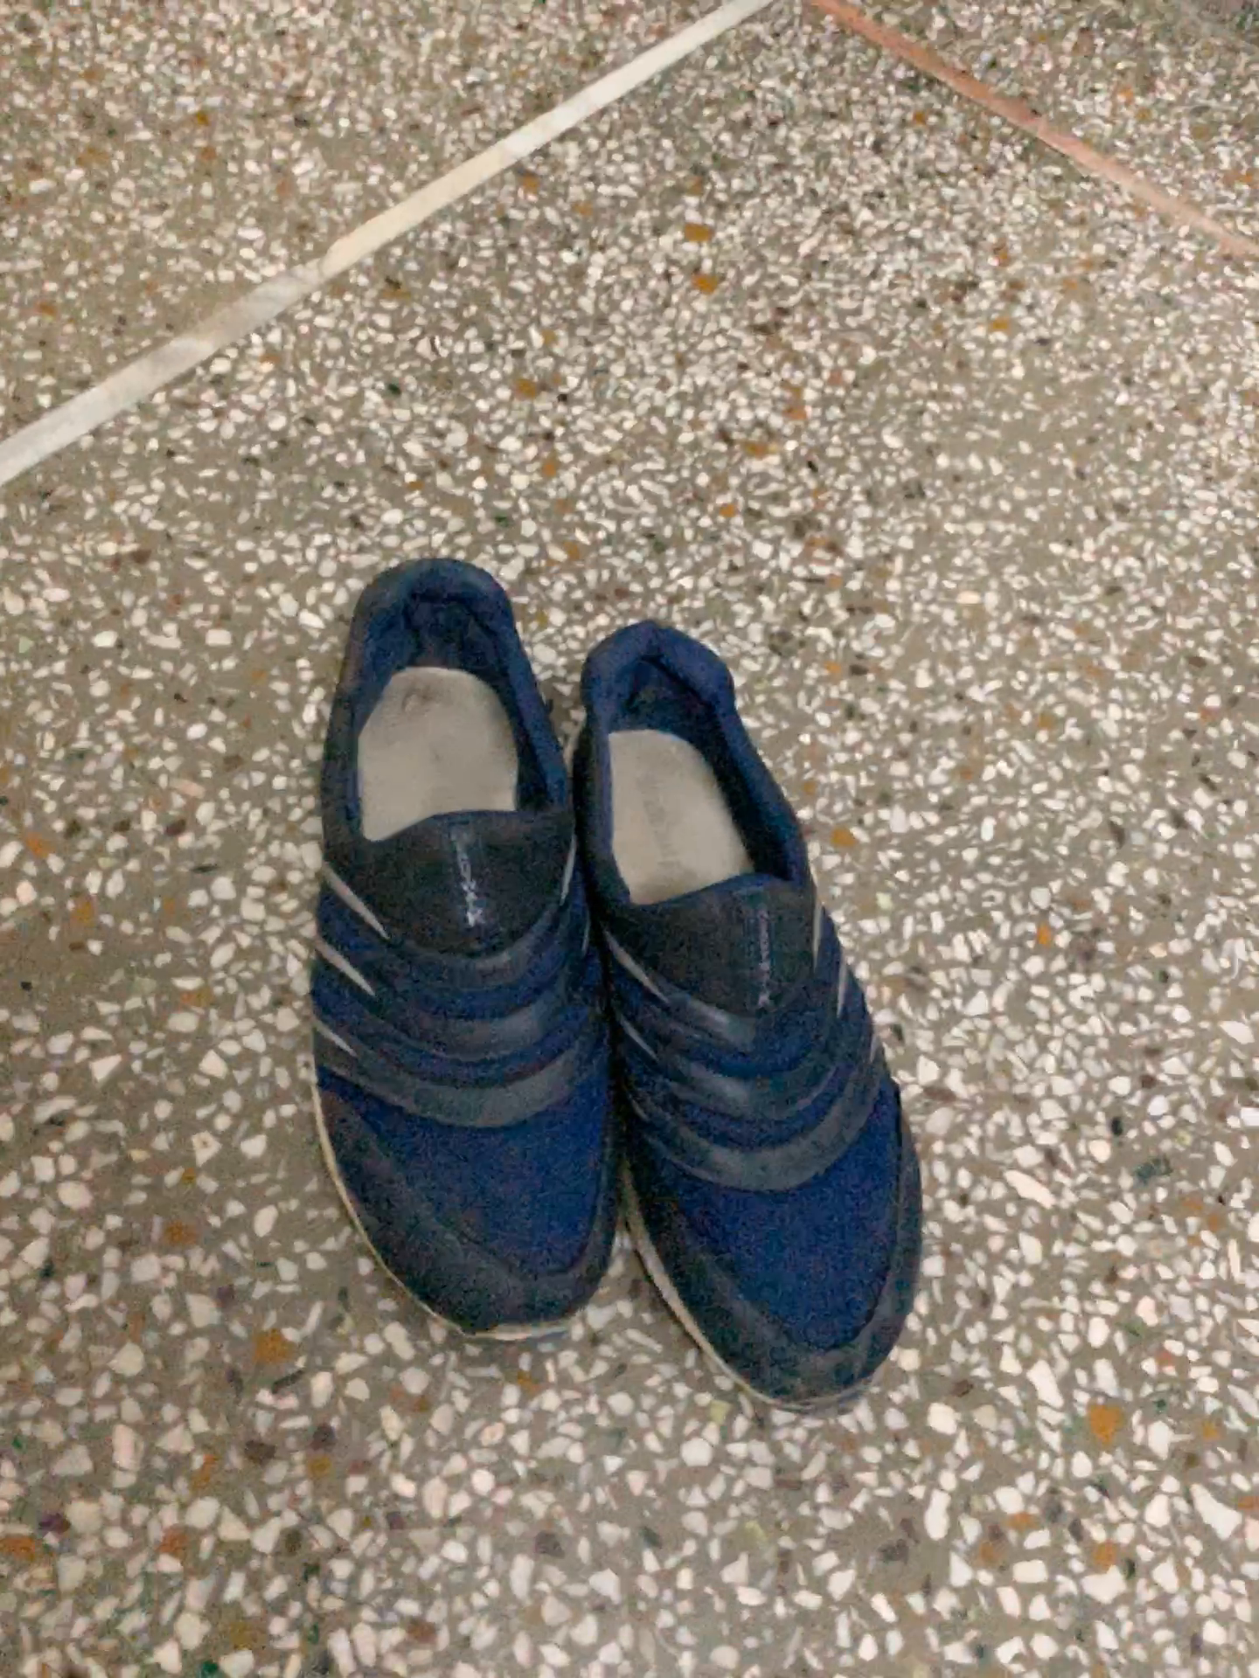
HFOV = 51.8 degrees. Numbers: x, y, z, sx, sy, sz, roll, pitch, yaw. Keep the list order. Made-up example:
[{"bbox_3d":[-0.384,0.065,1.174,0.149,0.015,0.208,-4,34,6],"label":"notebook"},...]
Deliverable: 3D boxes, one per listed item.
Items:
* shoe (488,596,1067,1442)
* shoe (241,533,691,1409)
[{"bbox_3d":[0.036,0.056,0.482,0.103,0.096,0.280,-12,64,-16],"label":"shoe"},{"bbox_3d":[-0.068,0.032,0.451,0.103,0.080,0.284,-6,63,-13],"label":"shoe"}]
